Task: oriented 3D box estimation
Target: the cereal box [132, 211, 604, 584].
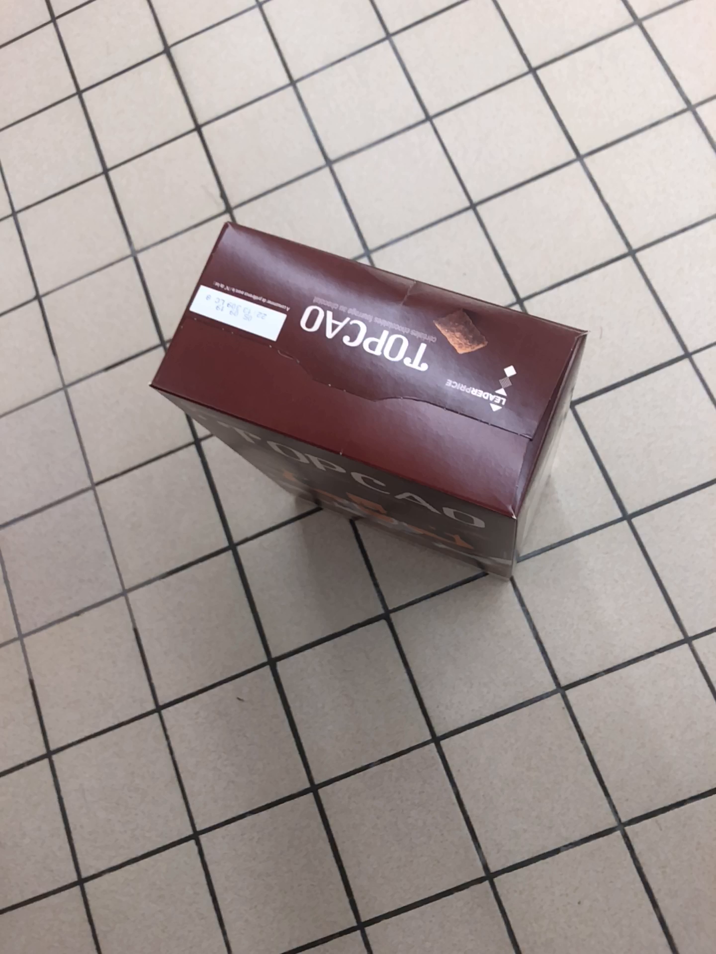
[{"bbox_3d":[0.024,-0.025,0.509,0.200,0.290,0.100,20,82,13],"label":"cereal box"}]
